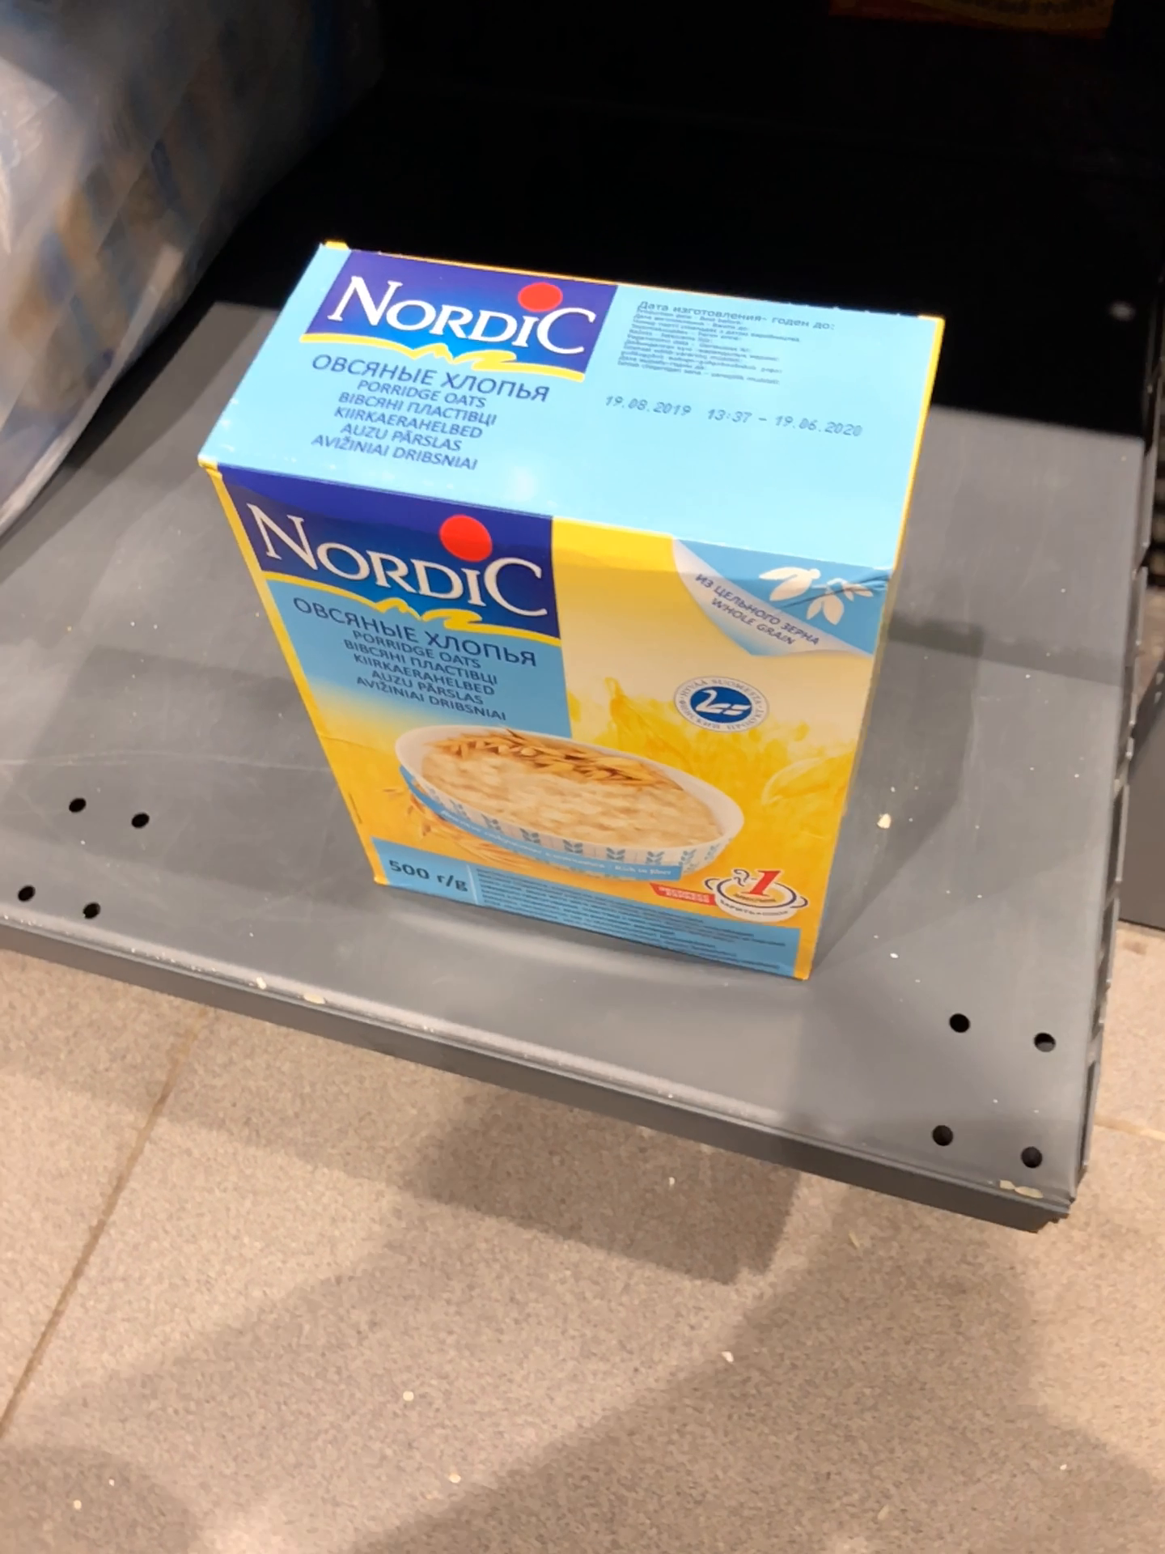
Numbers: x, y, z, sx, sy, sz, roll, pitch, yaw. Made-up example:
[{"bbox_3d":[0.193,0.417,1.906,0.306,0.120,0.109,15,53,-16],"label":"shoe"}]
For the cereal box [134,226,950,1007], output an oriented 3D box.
[{"bbox_3d":[-0.002,-0.030,0.338,0.150,0.179,0.080,12,57,11],"label":"cereal box"}]
